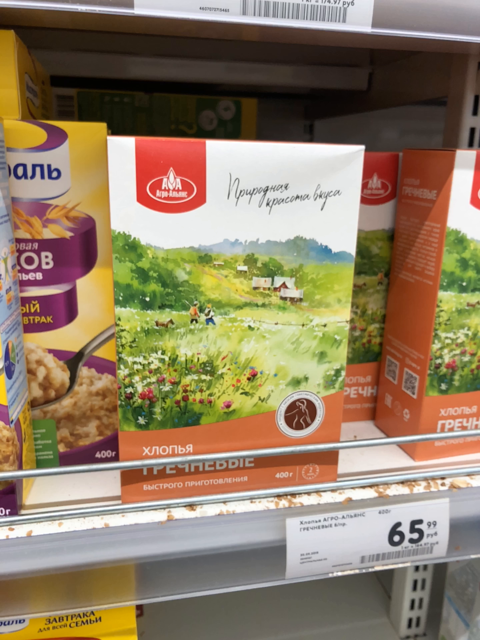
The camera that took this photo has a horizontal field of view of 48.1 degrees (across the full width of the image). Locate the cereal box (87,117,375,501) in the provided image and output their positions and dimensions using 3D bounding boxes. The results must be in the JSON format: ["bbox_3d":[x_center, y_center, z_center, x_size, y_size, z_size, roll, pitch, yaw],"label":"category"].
[{"bbox_3d":[-0.007,-0.006,0.307,0.140,0.199,0.050,-2,16,-11],"label":"cereal box"}]
